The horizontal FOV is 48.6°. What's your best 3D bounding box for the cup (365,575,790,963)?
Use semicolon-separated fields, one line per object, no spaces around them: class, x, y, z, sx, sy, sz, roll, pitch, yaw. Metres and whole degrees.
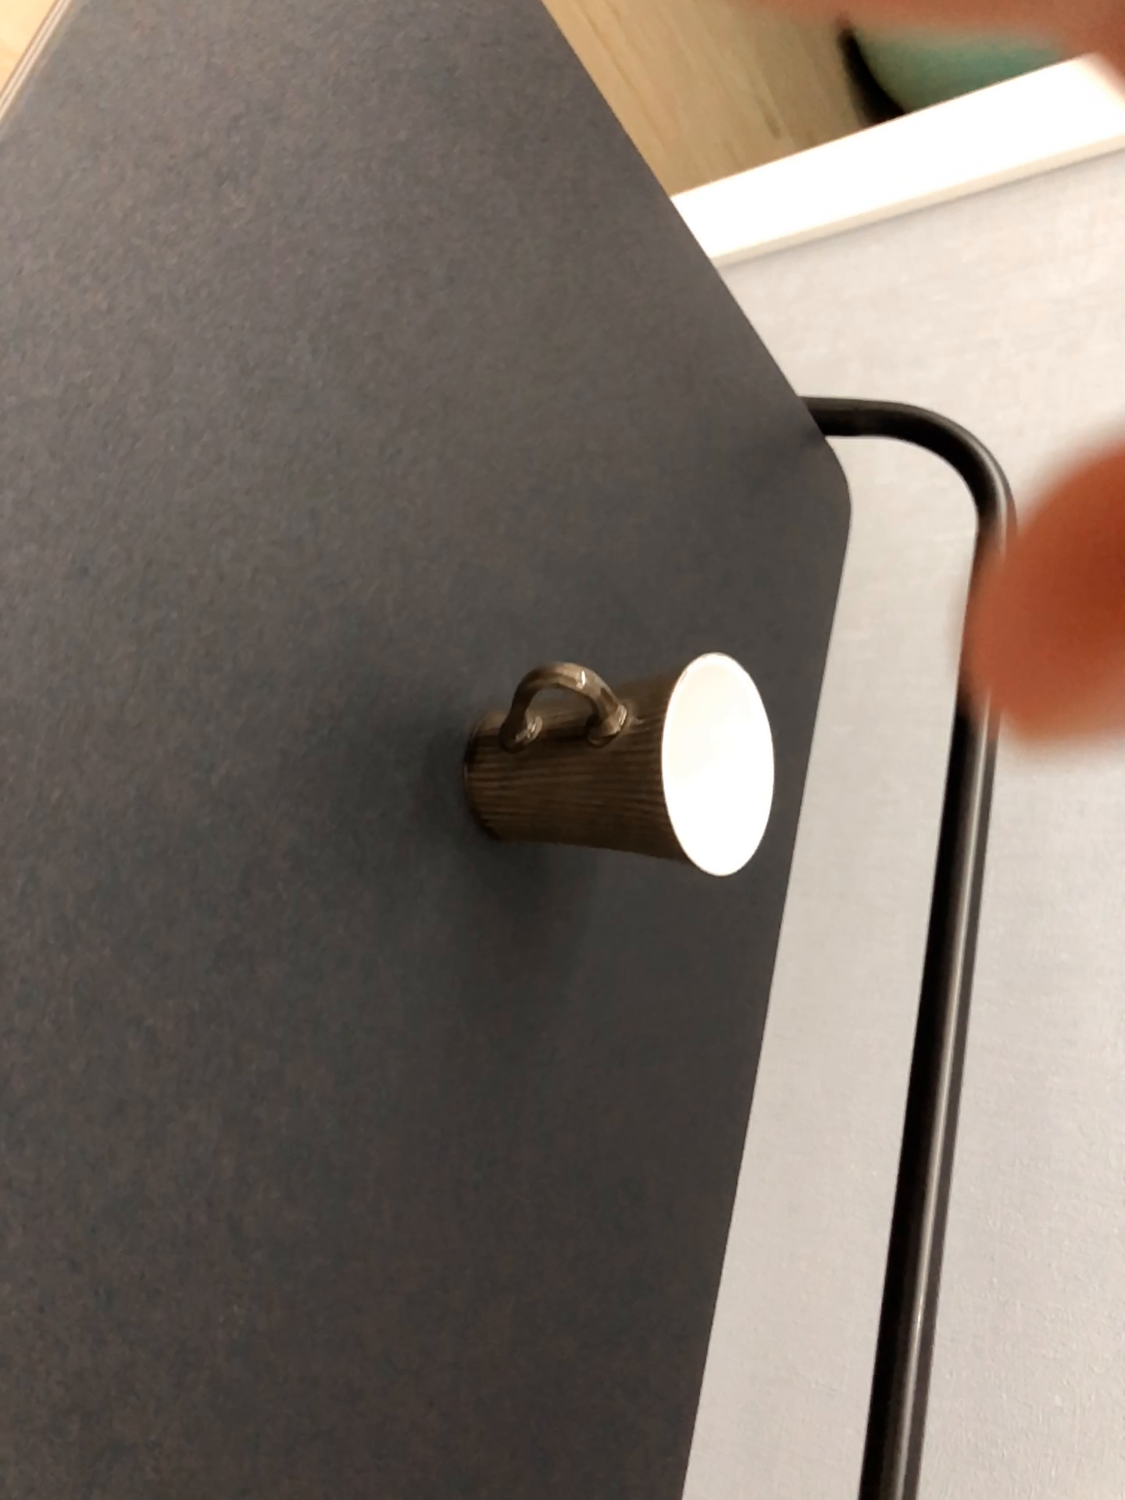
cup;0.009;0.009;0.352;0.090;0.069;0.065;48;51;-42
